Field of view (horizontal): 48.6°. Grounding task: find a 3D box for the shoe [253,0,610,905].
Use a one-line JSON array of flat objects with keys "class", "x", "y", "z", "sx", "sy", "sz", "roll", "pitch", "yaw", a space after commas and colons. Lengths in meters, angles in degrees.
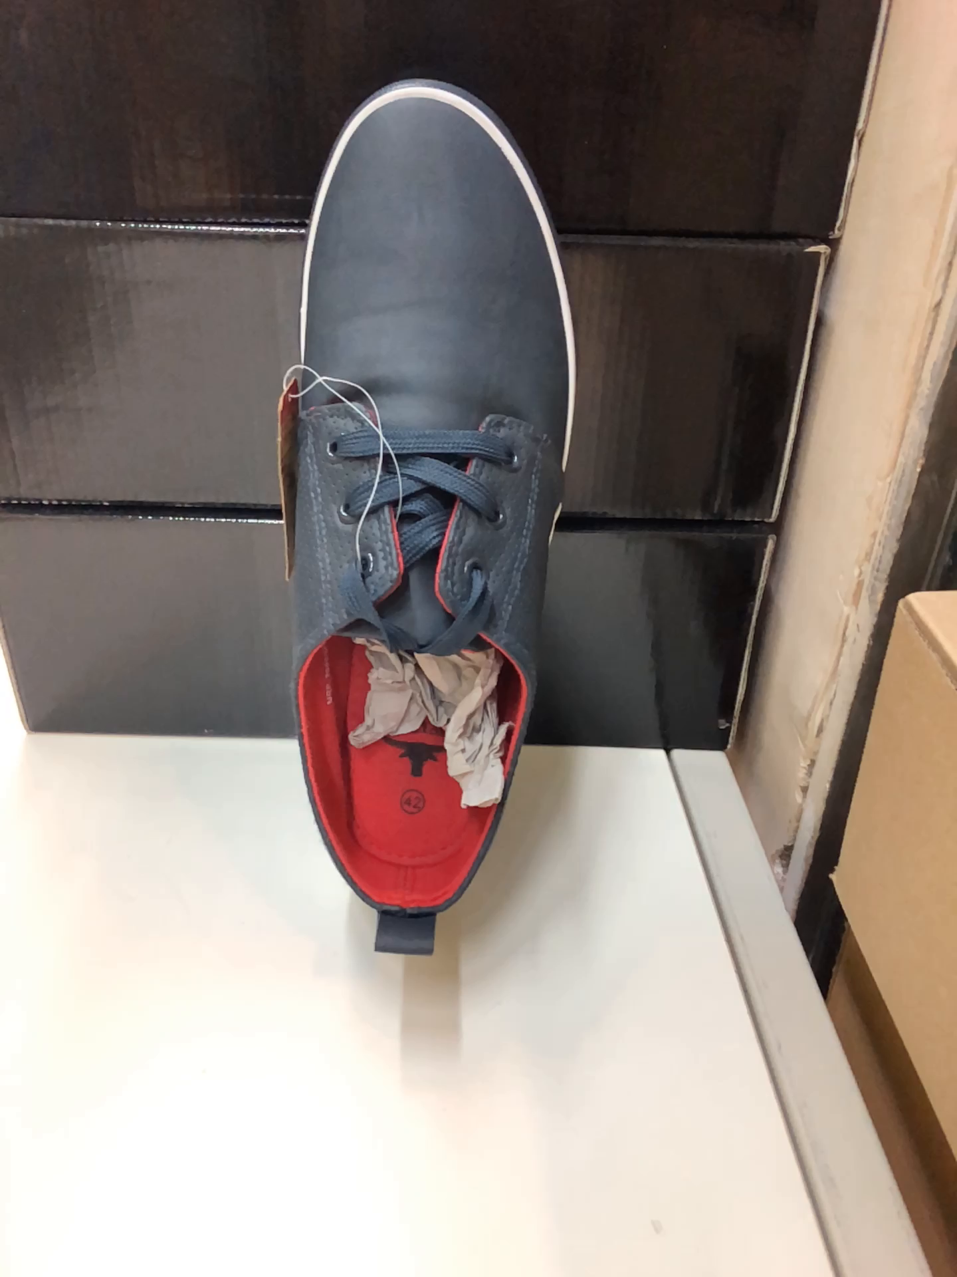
[{"class": "shoe", "x": -0.012, "y": -0.059, "z": 0.368, "sx": 0.103, "sy": 0.269, "sz": 0.101, "roll": 1, "pitch": 6, "yaw": 4}]
